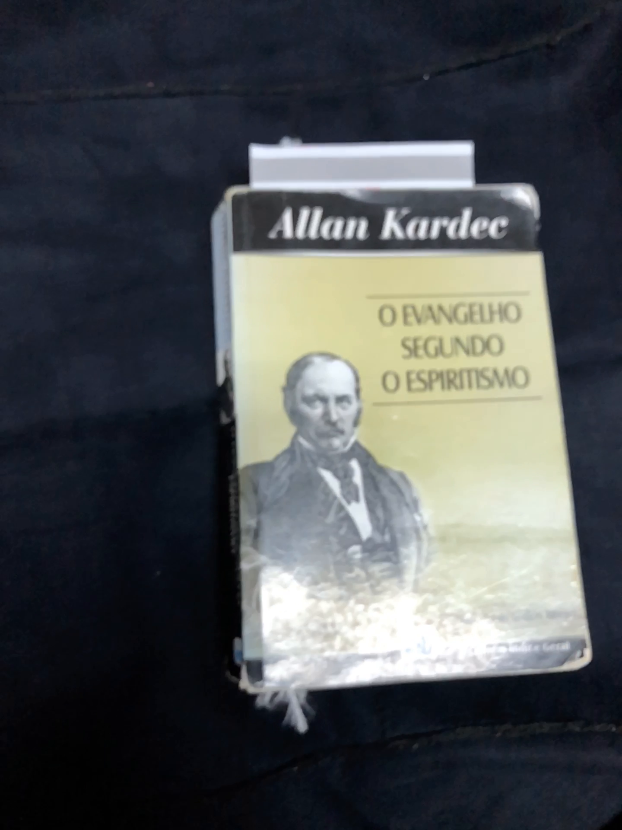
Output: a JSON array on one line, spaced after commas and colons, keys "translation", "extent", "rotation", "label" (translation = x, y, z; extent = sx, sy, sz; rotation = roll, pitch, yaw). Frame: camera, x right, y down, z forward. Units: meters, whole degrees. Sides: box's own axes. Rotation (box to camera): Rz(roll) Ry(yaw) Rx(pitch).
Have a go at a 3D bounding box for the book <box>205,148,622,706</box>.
[{"translation": [0.036, -0.001, 0.307], "extent": [0.150, 0.050, 0.220], "rotation": [-3, 79, -3], "label": "book"}]
